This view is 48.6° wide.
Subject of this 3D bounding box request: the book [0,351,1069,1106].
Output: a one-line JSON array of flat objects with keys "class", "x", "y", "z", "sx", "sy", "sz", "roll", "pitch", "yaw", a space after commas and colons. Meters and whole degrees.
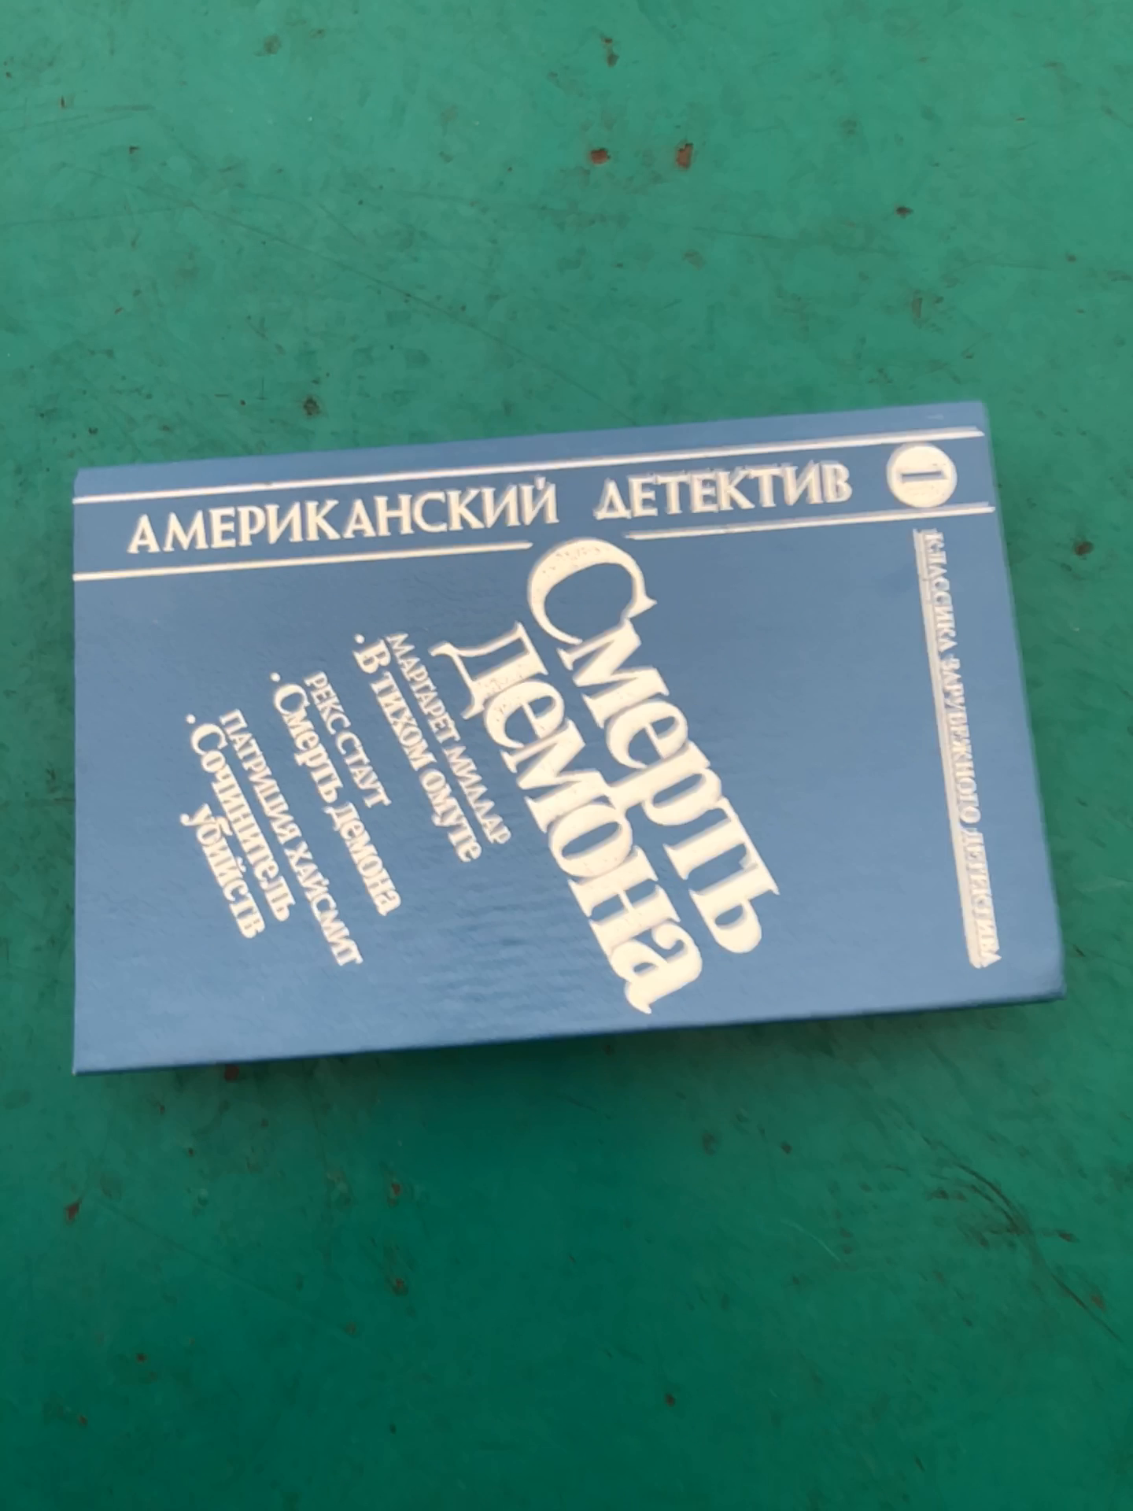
[{"class": "book", "x": -0.012, "y": -0.007, "z": 0.273, "sx": 0.212, "sy": 0.034, "sz": 0.142, "roll": -4, "pitch": 80, "yaw": -1}]
